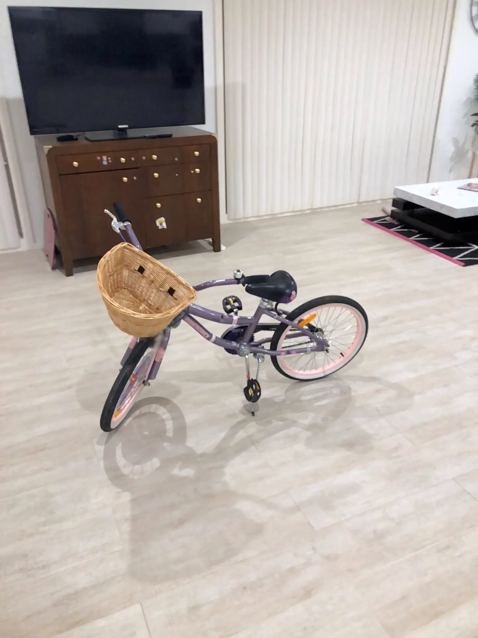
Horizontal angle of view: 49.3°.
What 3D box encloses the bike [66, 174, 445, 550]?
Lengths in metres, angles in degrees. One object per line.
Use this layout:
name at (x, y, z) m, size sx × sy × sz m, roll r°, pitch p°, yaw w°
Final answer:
bike at (0.028, 0.062, 2.117) m, size 1.216 × 0.877 × 0.750 m, roll -17°, pitch 30°, yaw -20°
